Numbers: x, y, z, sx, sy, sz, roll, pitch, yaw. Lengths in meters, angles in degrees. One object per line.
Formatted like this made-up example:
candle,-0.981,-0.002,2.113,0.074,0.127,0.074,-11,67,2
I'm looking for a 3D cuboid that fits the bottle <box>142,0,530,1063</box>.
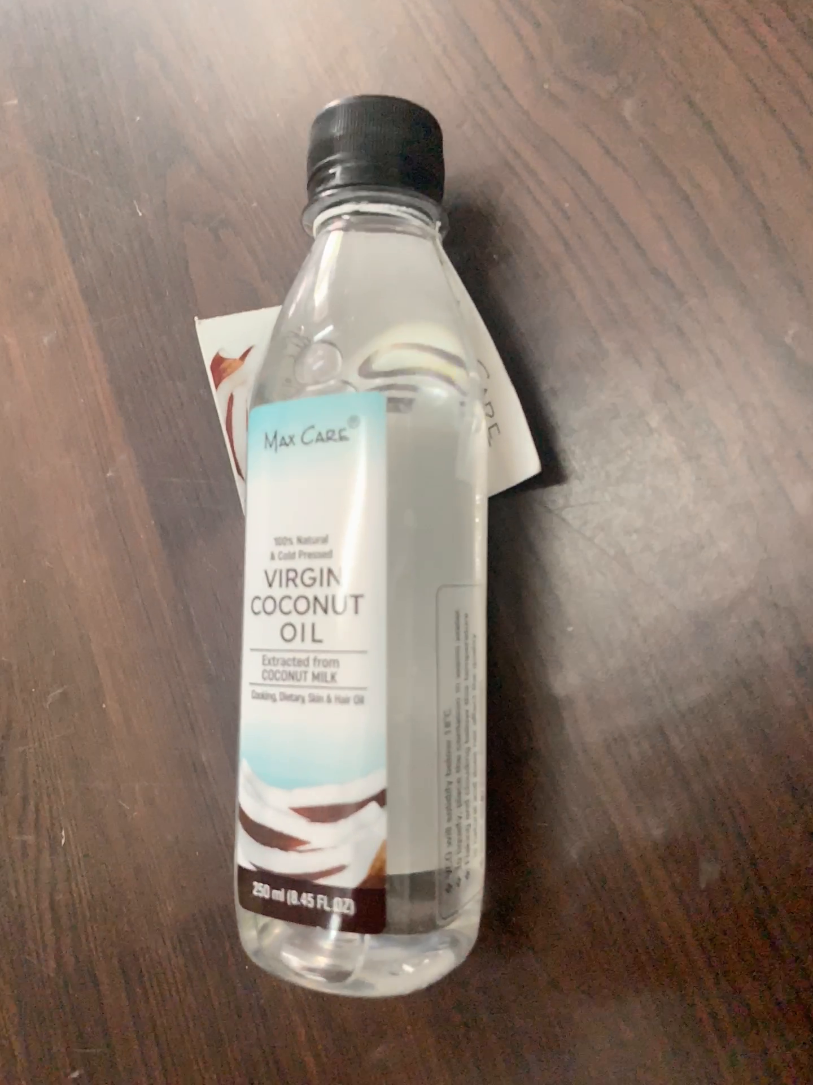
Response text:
bottle,-0.010,-0.004,0.167,0.050,0.050,0.170,-1,83,27
